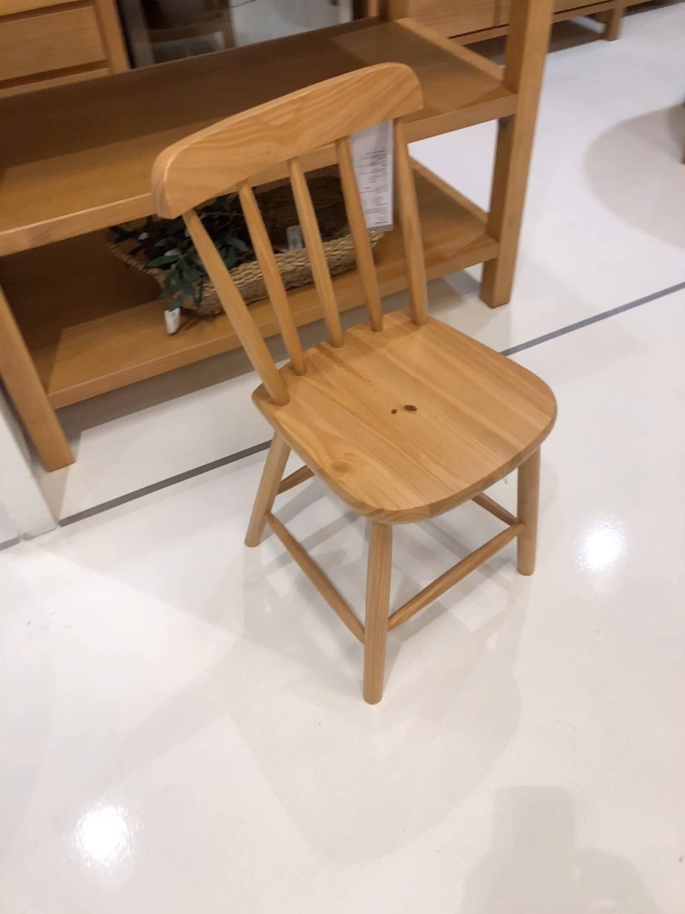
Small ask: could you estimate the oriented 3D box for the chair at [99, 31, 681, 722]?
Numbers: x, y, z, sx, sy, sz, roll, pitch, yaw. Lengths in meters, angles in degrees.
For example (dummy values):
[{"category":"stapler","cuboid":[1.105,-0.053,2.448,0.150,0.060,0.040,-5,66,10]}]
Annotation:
[{"category":"chair","cuboid":[0.051,-0.086,1.067,0.421,0.755,0.452,-32,53,-24]}]
